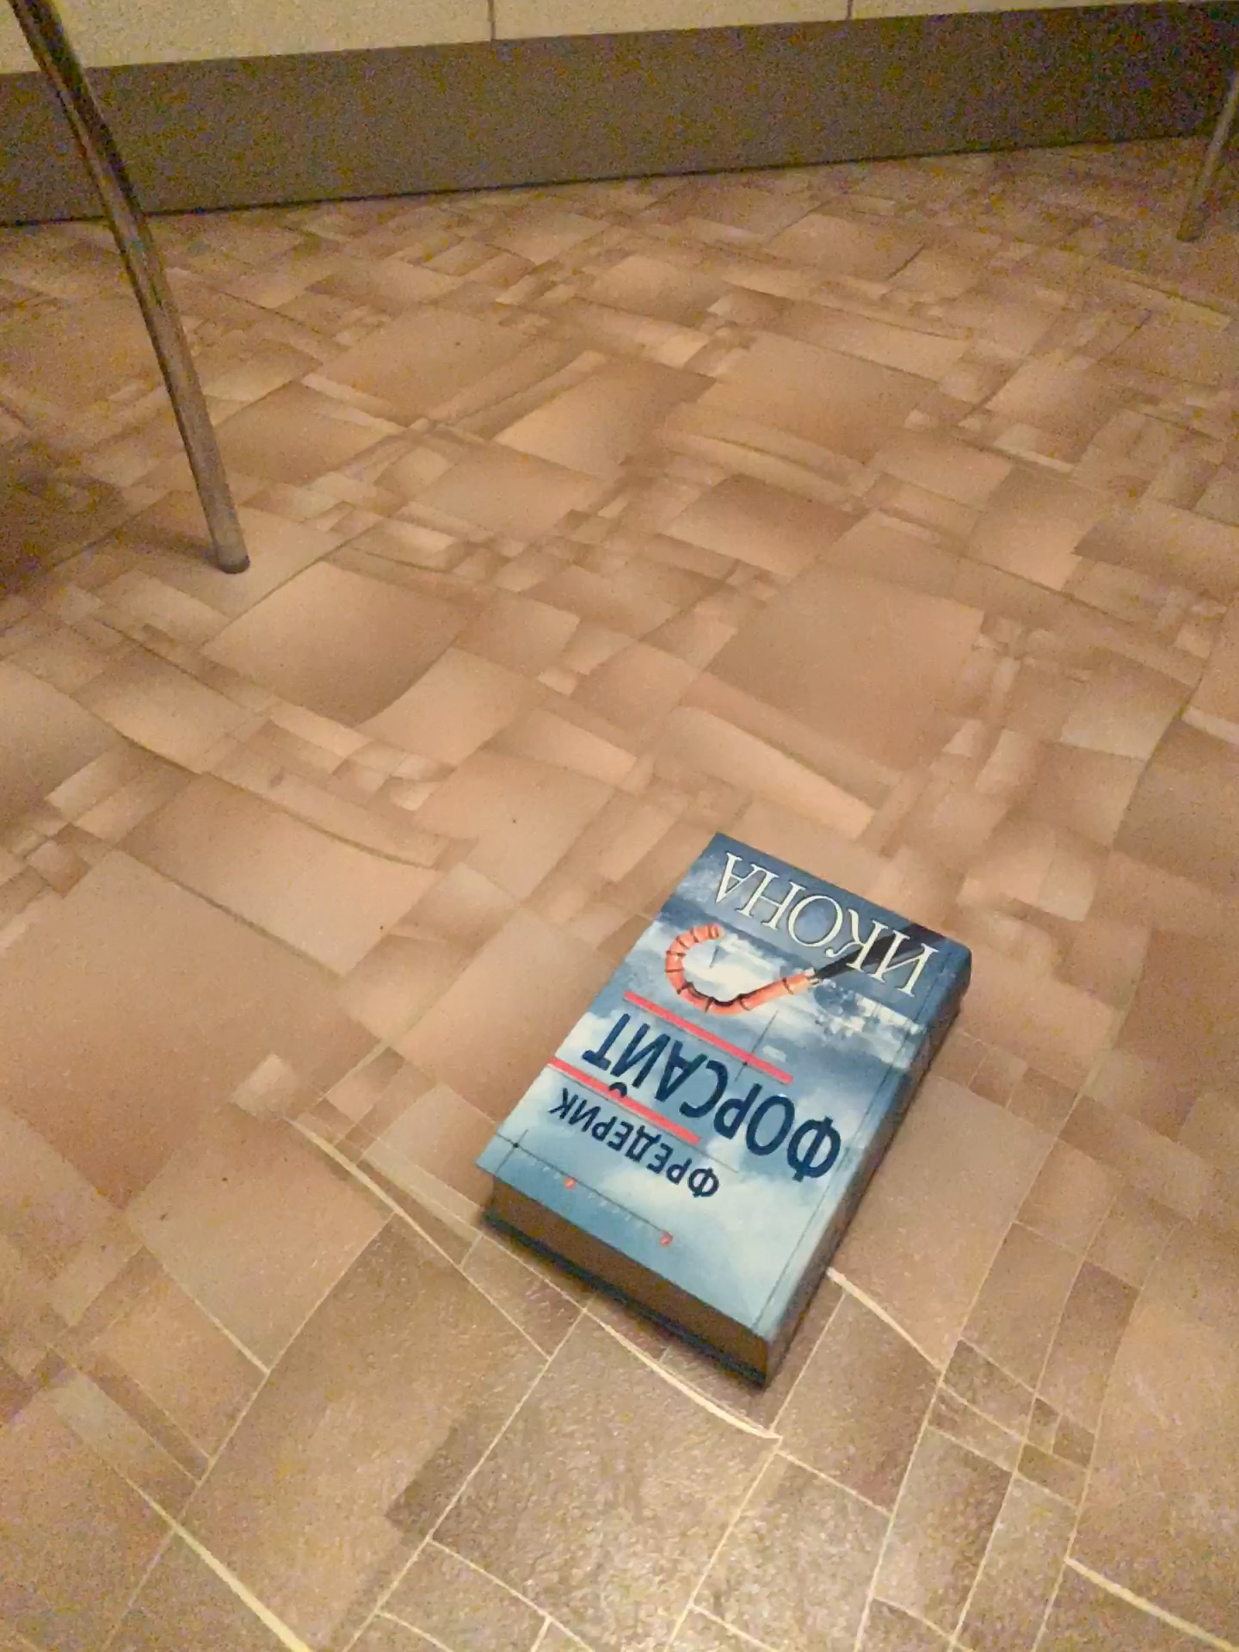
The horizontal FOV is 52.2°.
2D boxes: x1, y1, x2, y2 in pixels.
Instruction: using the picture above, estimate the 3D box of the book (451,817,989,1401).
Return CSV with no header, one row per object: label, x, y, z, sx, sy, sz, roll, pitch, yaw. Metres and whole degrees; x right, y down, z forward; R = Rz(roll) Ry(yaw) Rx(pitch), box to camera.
book,0.053,0.114,0.584,0.152,0.056,0.224,25,51,20
